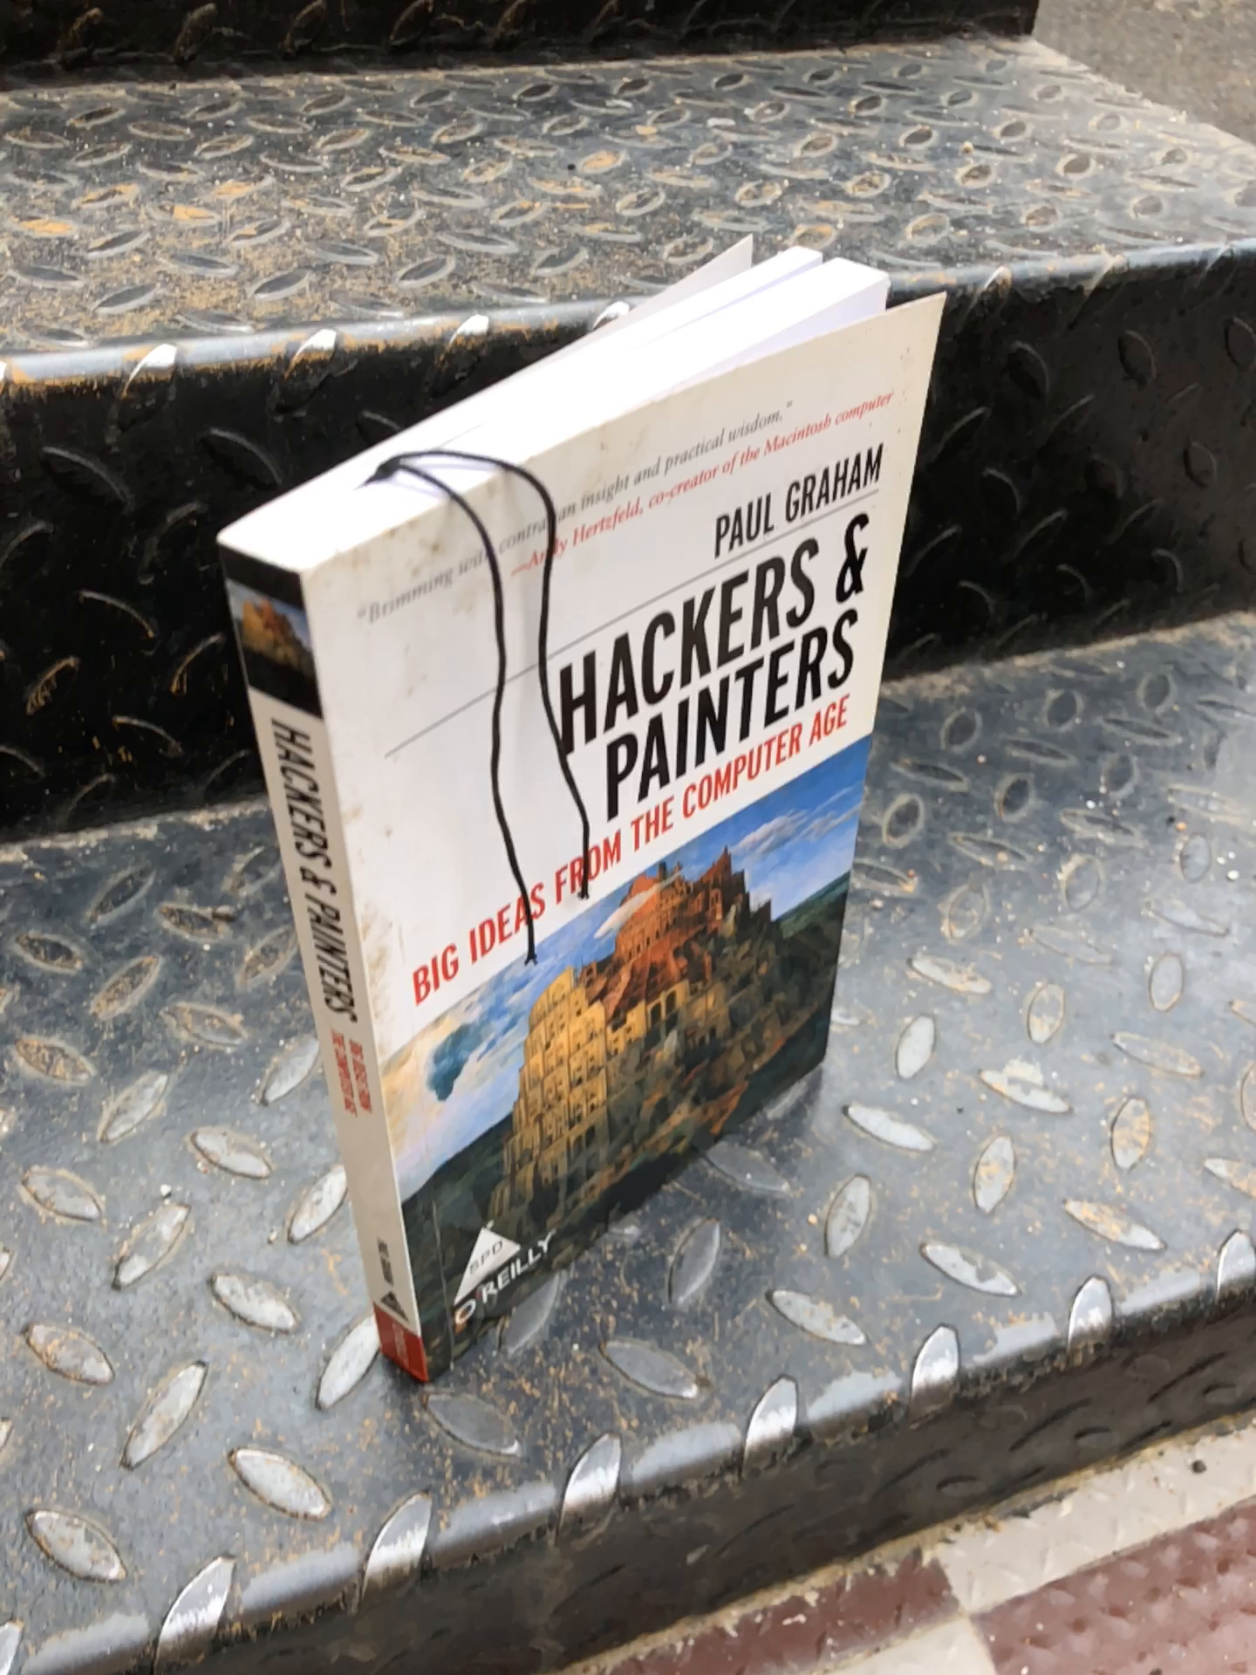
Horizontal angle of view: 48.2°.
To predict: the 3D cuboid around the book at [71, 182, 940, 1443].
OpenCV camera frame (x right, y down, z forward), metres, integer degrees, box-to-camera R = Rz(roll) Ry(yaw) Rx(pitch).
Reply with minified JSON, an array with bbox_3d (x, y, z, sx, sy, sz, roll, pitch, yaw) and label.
[{"bbox_3d":[-0.005,0.003,0.296,0.030,0.219,0.170,28,50,28],"label":"book"}]
